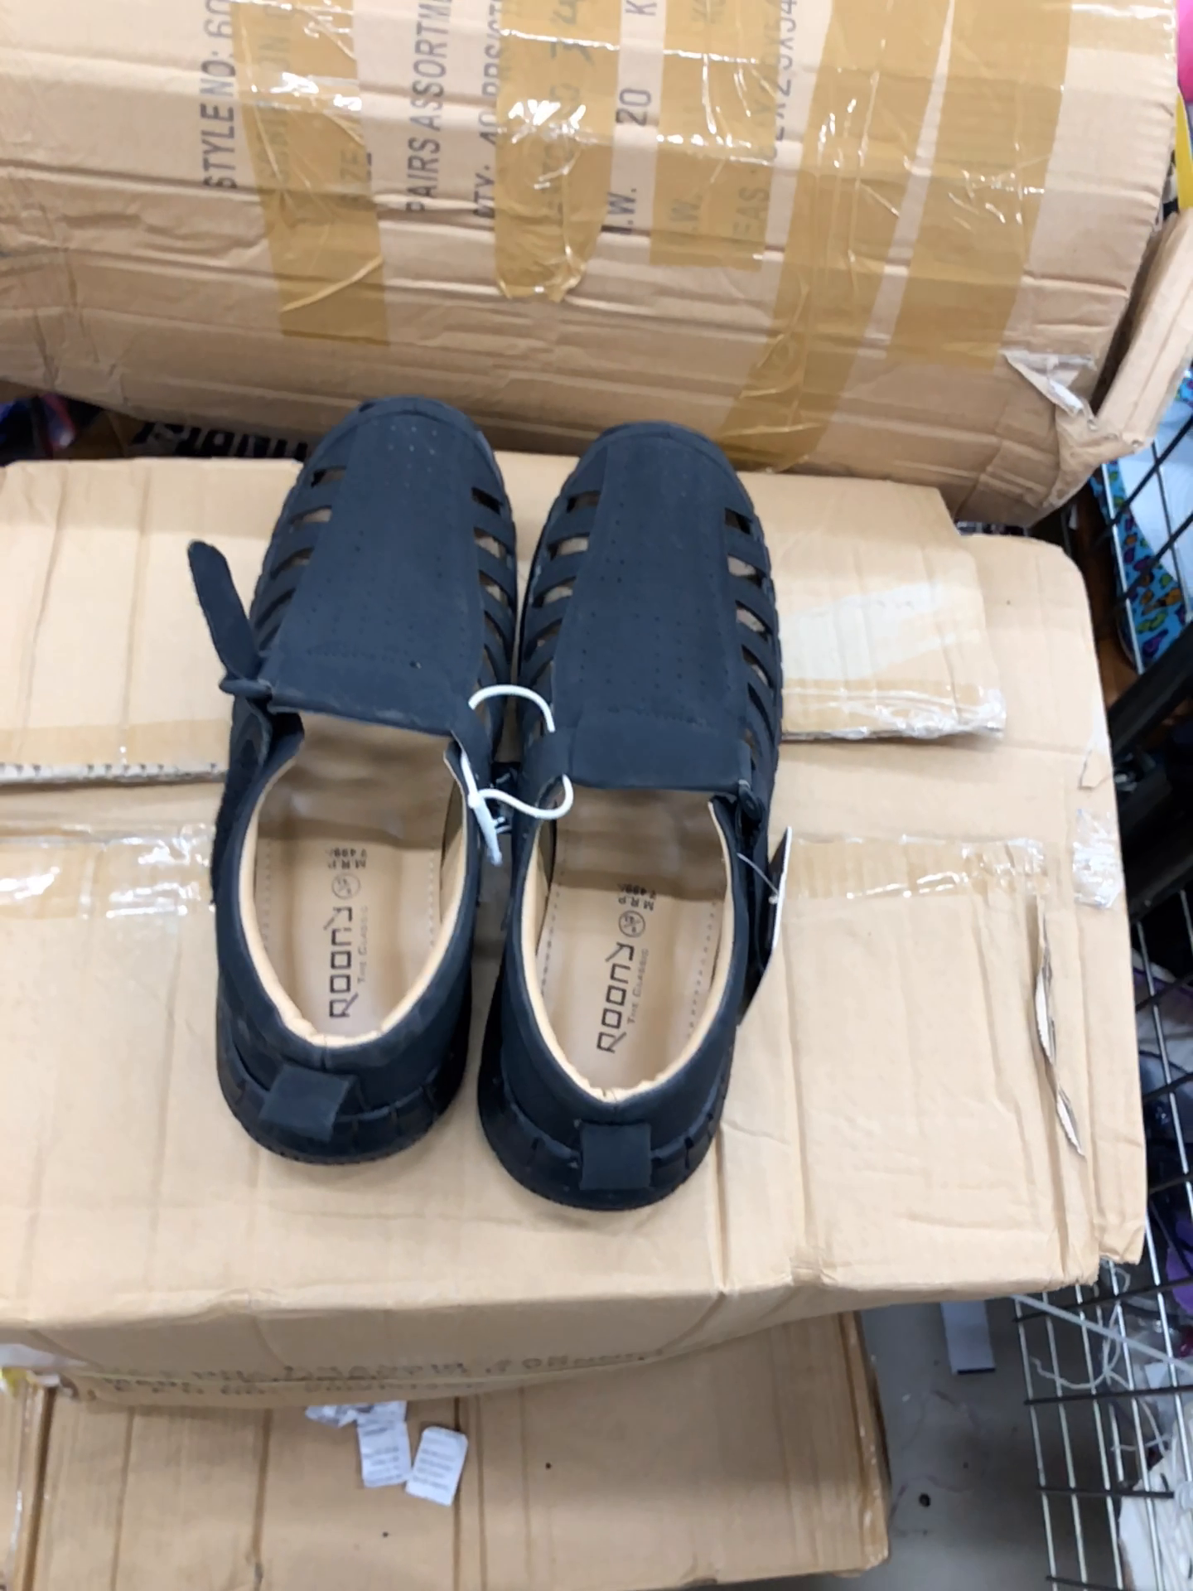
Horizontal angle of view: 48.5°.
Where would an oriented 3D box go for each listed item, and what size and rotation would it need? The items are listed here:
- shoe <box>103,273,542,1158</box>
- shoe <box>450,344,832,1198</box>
[{"bbox_3d":[-0.079,-0.032,0.445,0.110,0.100,0.281,2,63,-7],"label":"shoe"},{"bbox_3d":[0.014,-0.013,0.456,0.100,0.100,0.271,6,63,-5],"label":"shoe"}]
